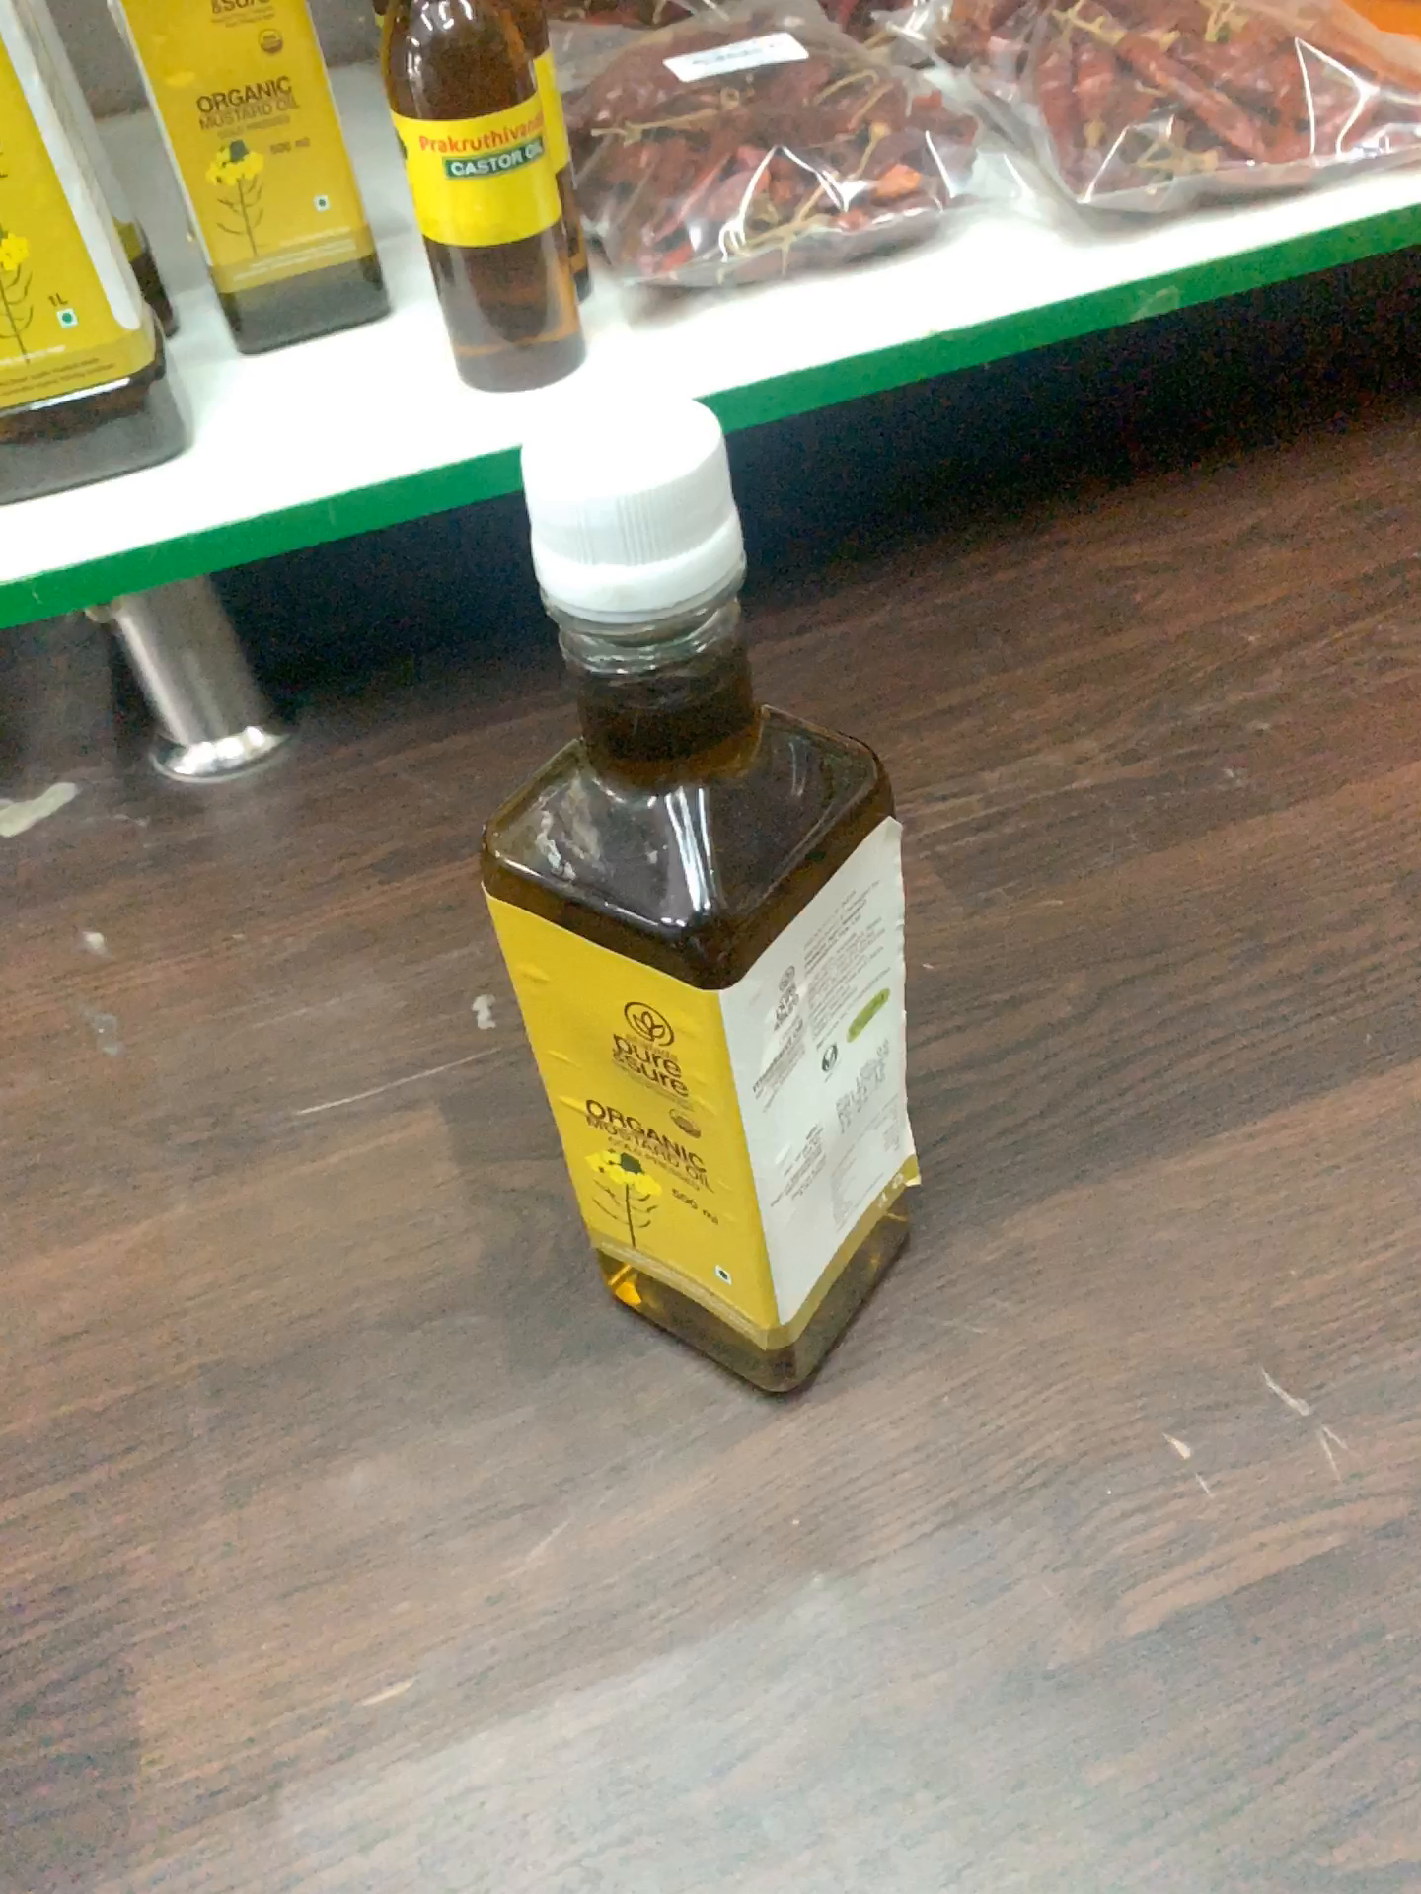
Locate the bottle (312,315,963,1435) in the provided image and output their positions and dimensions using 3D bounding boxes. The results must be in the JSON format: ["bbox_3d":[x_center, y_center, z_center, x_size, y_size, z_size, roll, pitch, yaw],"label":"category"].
[{"bbox_3d":[0.001,0.002,0.278,0.070,0.209,0.060,23,53,29],"label":"bottle"}]
